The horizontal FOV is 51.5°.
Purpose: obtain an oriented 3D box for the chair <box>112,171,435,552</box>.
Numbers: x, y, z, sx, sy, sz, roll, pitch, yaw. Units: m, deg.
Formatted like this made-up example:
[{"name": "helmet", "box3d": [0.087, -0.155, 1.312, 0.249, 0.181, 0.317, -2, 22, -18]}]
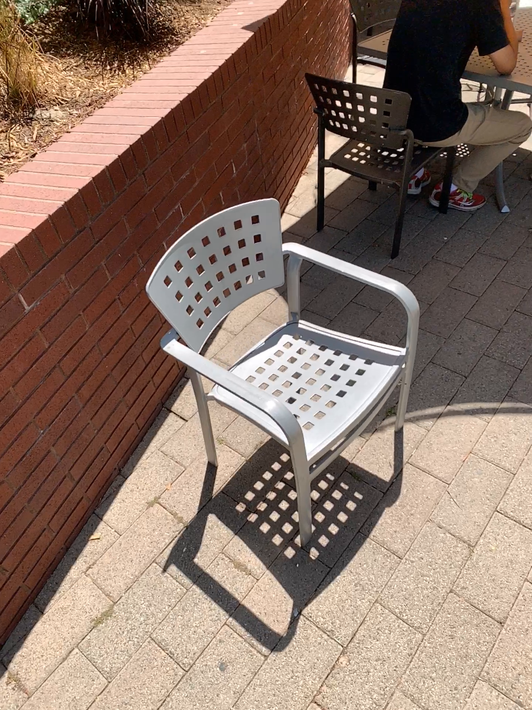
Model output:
[{"name": "chair", "box3d": [0.065, 0.011, 1.490, 0.493, 0.717, 0.558, 25, 54, 31]}]
